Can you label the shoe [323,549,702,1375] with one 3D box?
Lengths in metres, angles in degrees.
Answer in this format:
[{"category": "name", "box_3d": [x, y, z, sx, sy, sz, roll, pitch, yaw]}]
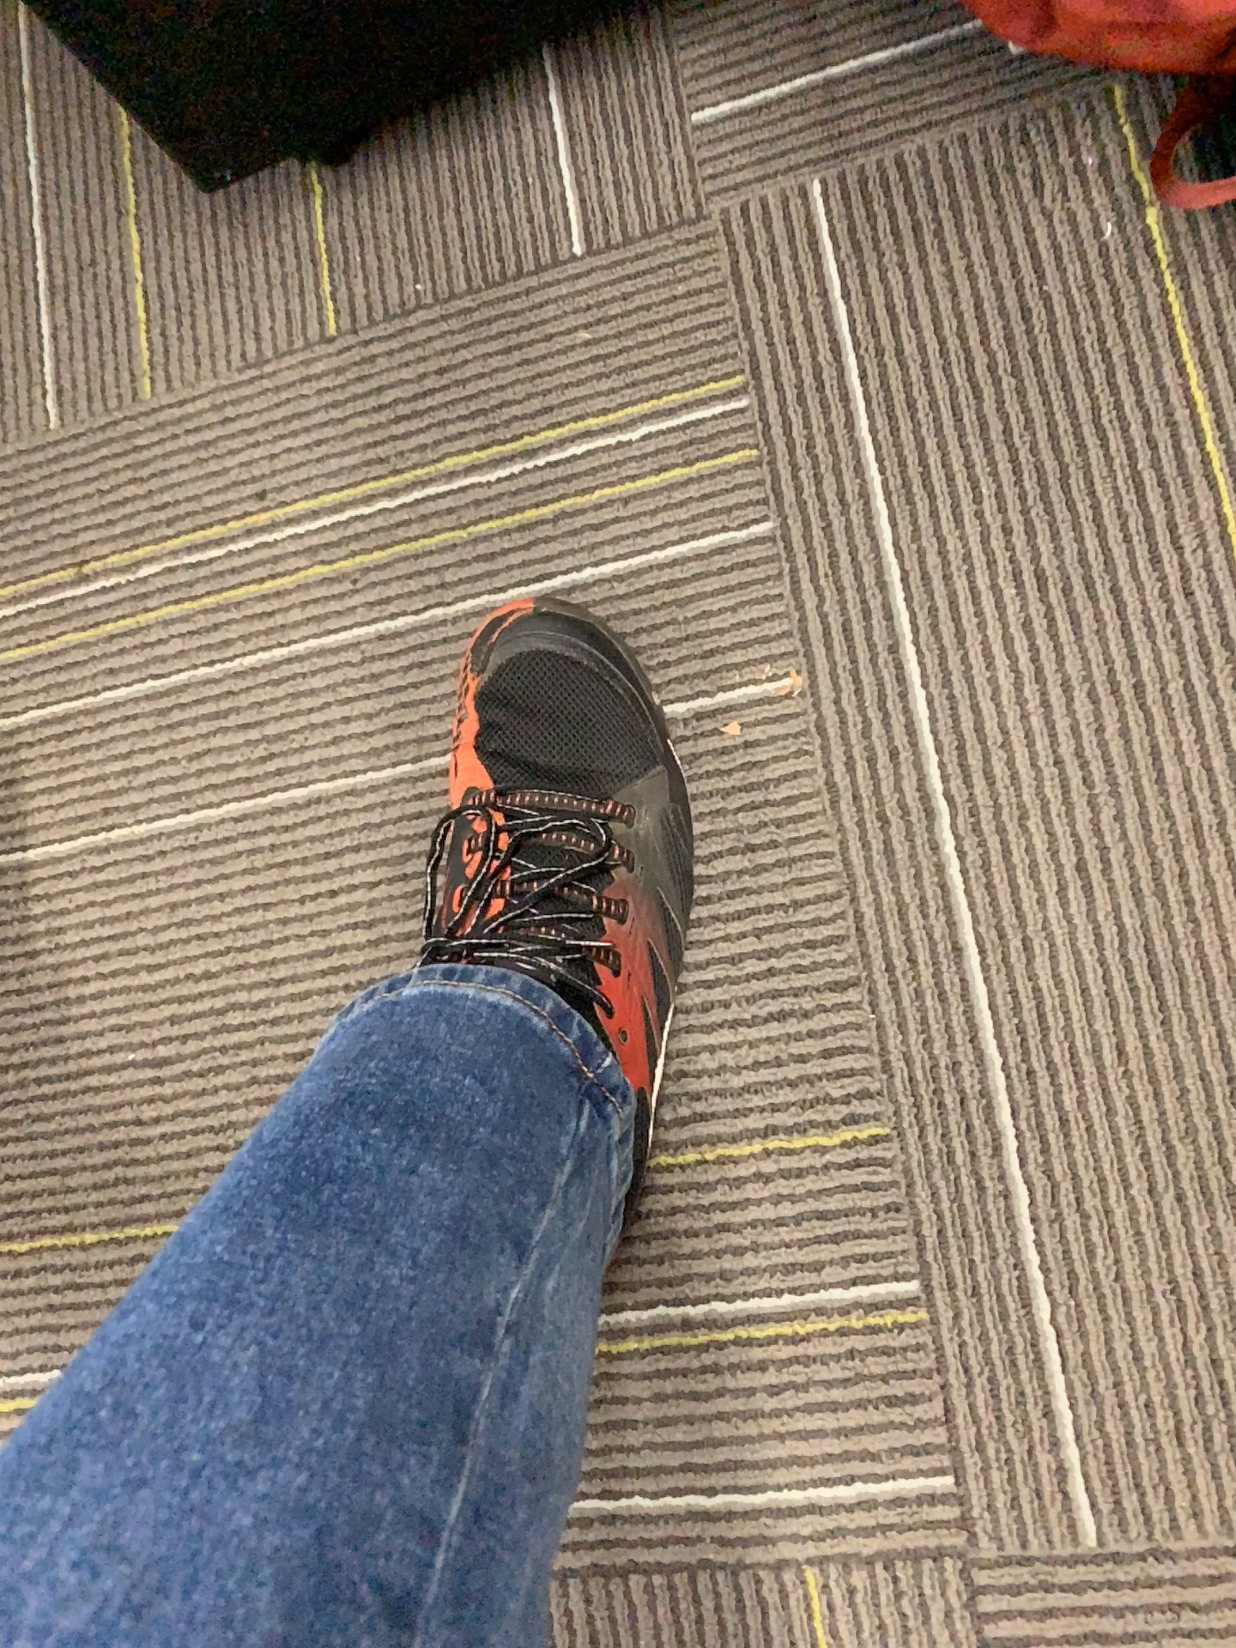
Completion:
[{"category": "shoe", "box_3d": [-0.039, 0.052, 0.542, 0.131, 0.077, 0.317, 0, 82, 15]}]
